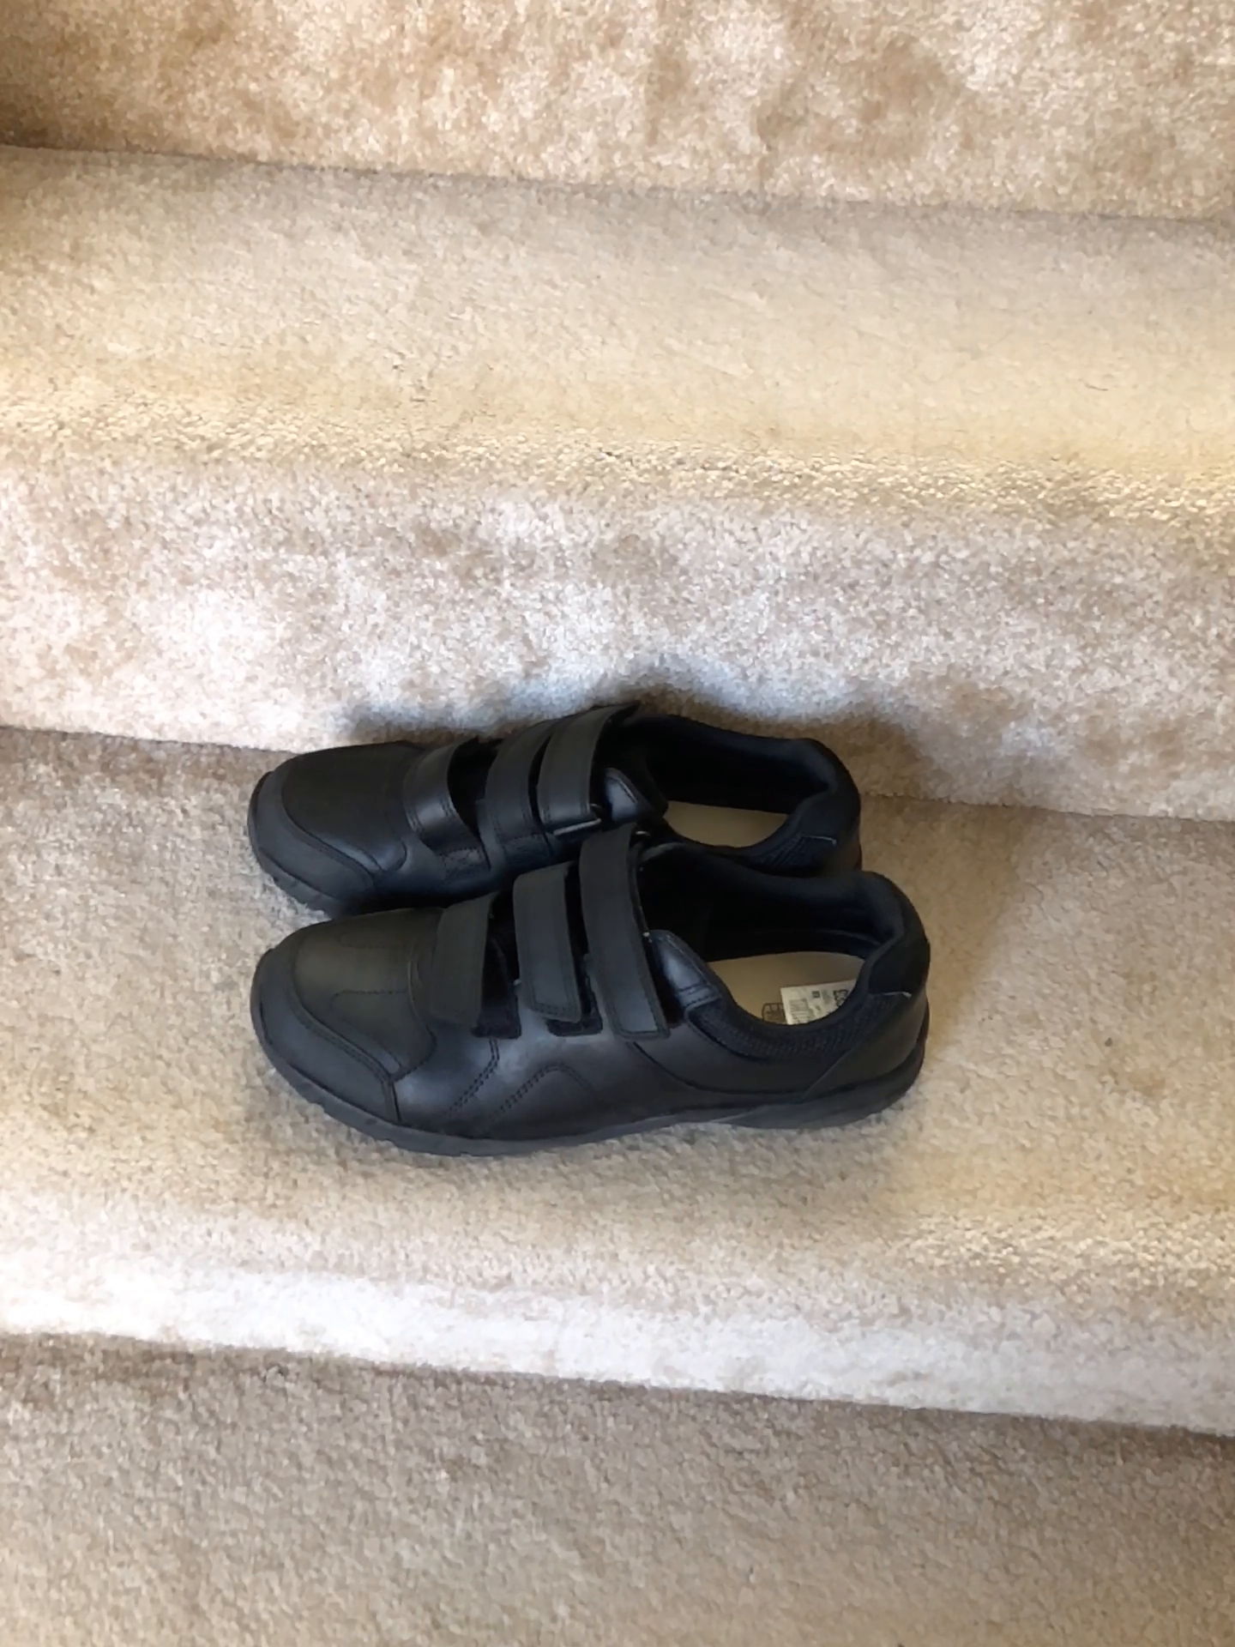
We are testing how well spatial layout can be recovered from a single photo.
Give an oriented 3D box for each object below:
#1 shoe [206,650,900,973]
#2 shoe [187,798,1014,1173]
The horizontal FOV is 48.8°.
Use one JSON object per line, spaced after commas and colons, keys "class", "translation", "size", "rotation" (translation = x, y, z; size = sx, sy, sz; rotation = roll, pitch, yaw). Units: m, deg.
{"class": "shoe", "translation": [-0.027, -0.005, 0.600], "size": [0.270, 0.099, 0.101], "rotation": [0, 48, -2]}
{"class": "shoe", "translation": [-0.007, 0.061, 0.514], "size": [0.270, 0.099, 0.101], "rotation": [0, 48, -2]}
